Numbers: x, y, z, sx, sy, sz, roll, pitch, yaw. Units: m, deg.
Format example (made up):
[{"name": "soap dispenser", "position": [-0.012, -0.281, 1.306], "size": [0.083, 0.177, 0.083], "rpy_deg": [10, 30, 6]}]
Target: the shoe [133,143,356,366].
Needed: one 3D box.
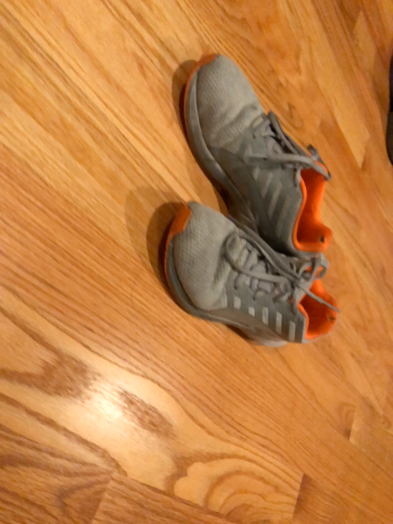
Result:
[{"name": "shoe", "position": [0.068, 0.009, 0.447], "size": [0.251, 0.080, 0.110], "rpy_deg": [37, 63, -40]}]

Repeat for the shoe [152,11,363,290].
[{"name": "shoe", "position": [0.077, -0.098, 0.457], "size": [0.100, 0.099, 0.250], "rpy_deg": [-51, 124, -35]}]
